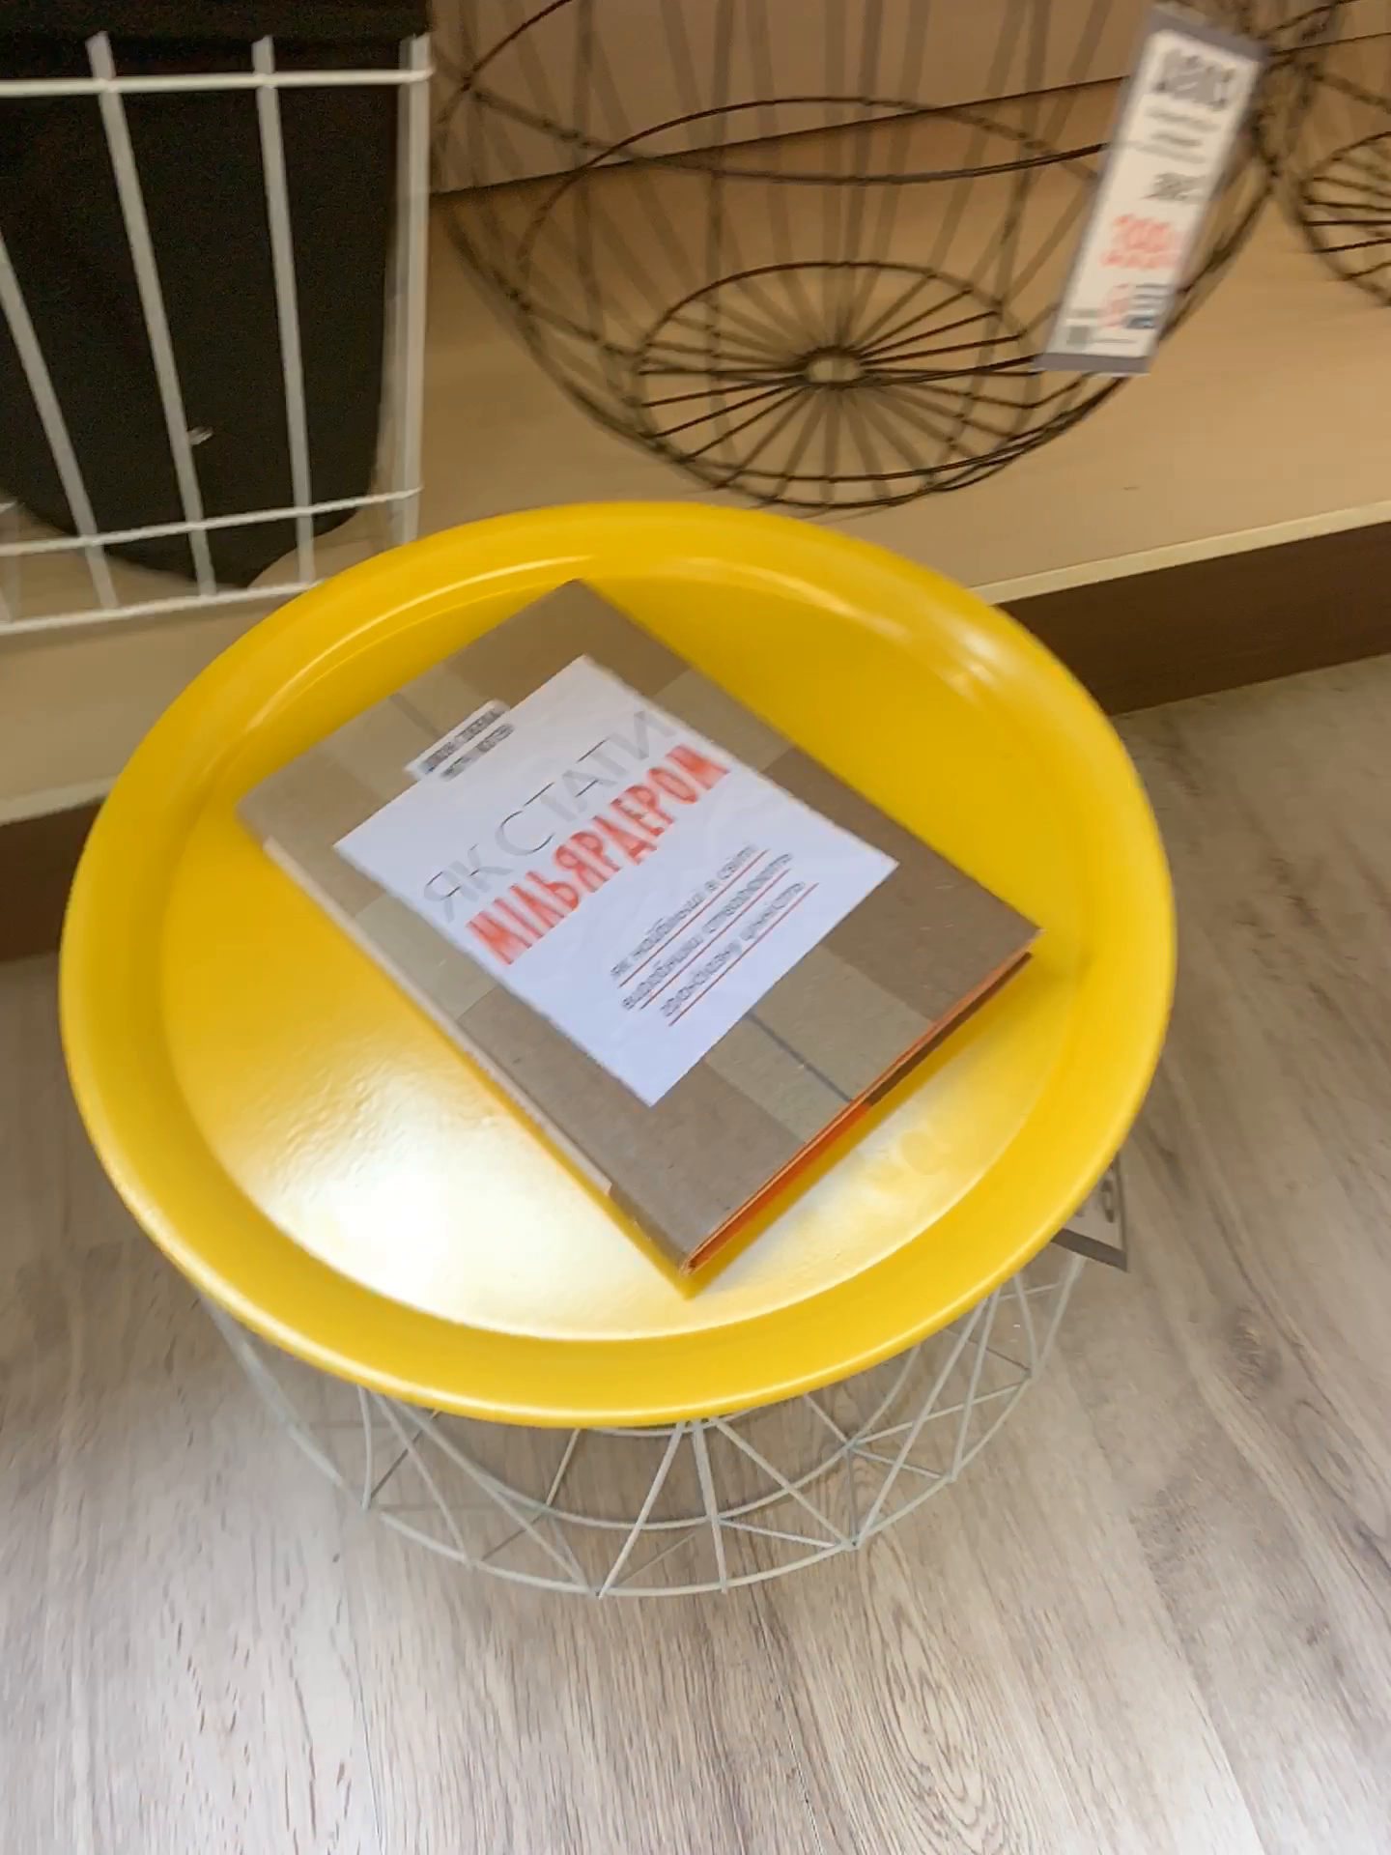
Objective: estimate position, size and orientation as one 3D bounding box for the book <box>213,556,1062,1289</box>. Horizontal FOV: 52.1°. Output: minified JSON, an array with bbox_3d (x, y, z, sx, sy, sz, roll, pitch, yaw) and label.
[{"bbox_3d":[-0.024,-0.020,0.487,0.170,0.020,0.236,-40,64,-22],"label":"book"}]
